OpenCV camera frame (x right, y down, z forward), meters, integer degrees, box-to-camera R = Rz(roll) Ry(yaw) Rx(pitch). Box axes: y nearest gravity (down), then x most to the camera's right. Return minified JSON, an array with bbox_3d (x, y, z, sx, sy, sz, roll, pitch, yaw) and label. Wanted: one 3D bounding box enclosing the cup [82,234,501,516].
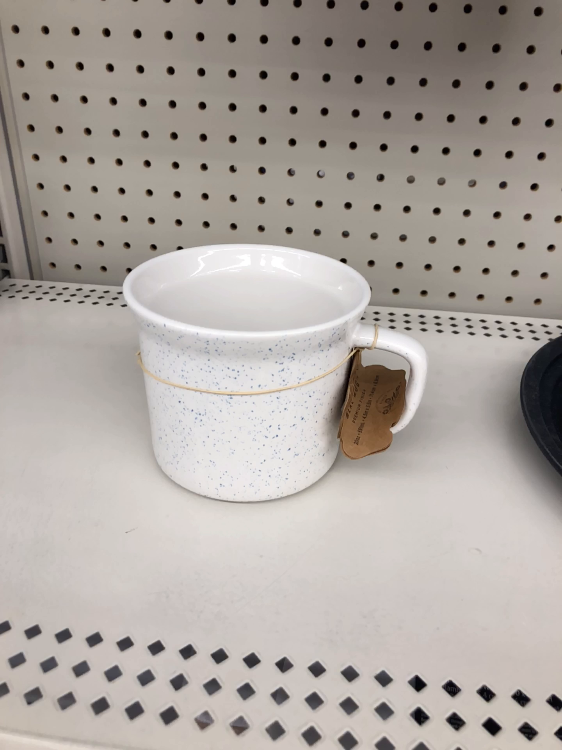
[{"bbox_3d":[0.005,-0.006,0.302,0.159,0.090,0.102,3,30,2],"label":"cup"}]
